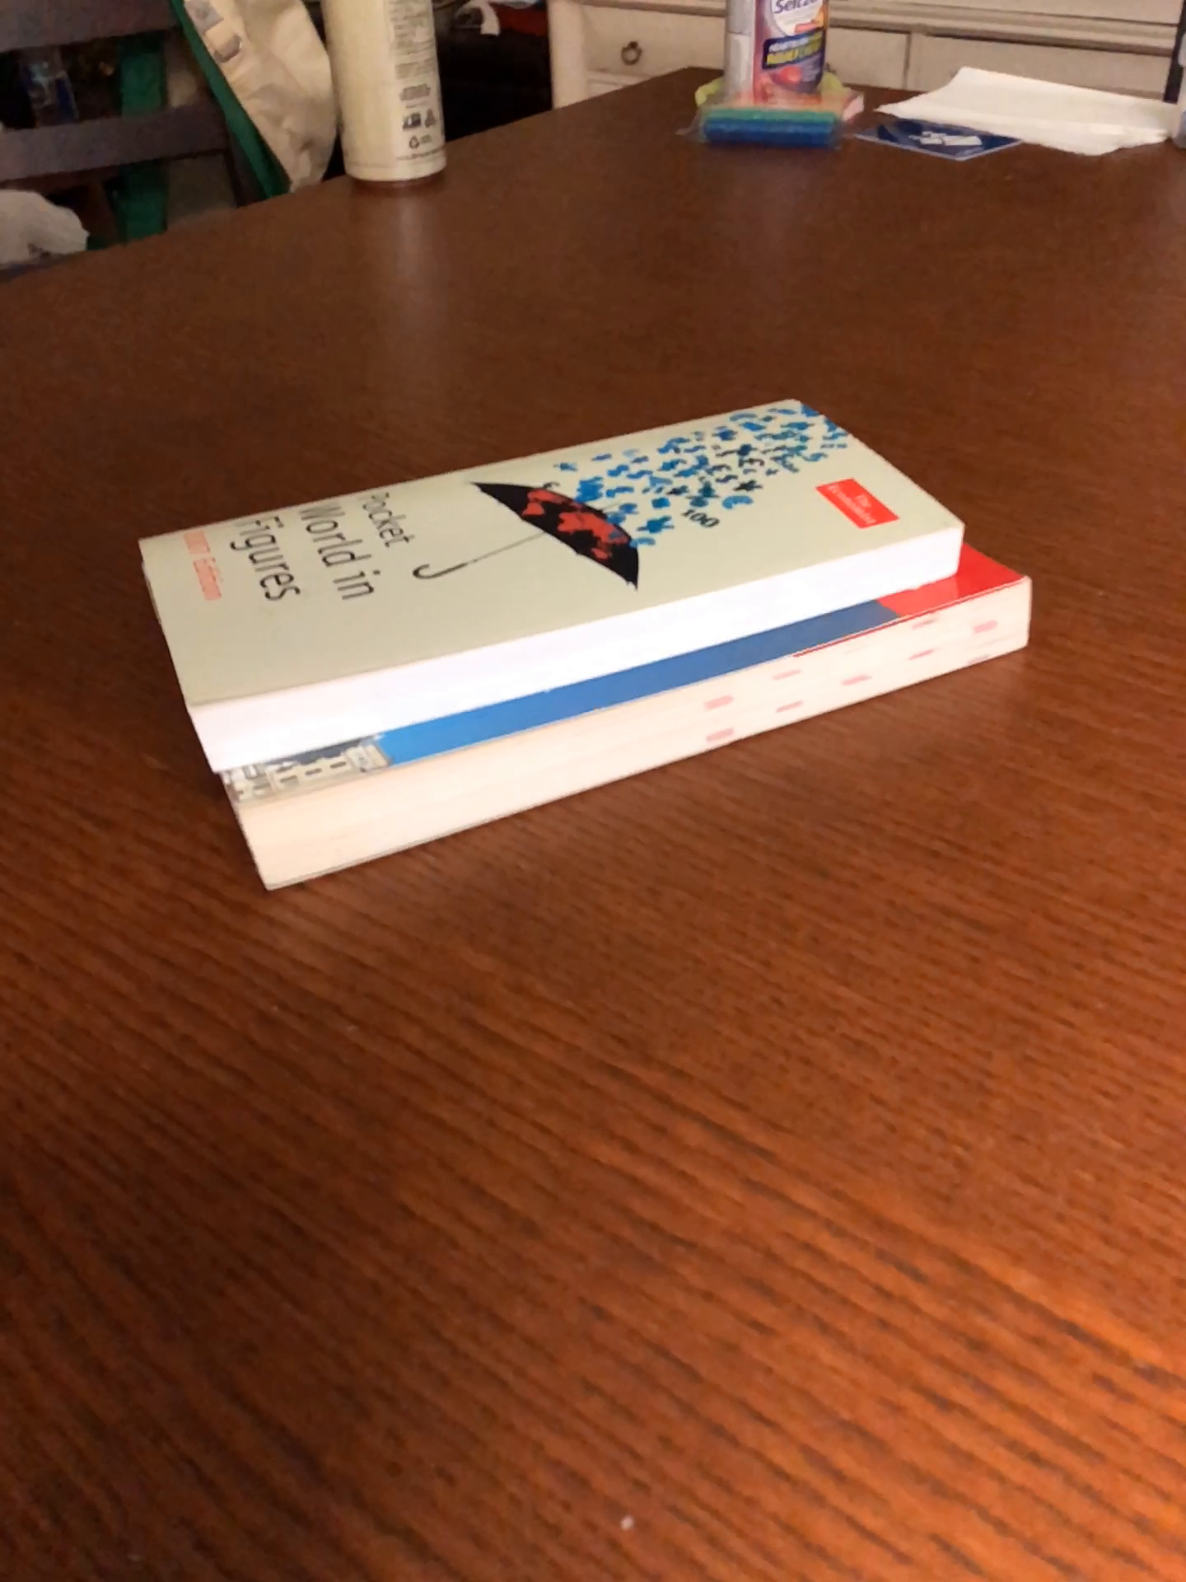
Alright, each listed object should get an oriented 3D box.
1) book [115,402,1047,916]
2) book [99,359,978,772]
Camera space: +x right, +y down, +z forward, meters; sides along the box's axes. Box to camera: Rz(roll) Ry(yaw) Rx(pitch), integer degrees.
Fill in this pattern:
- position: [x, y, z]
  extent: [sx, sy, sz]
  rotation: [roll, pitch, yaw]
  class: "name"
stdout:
- position: [-0.010, -0.051, 0.355]
  extent: [0.210, 0.020, 0.141]
  rotation: [-17, 41, -17]
  class: "book"
- position: [-0.017, -0.067, 0.337]
  extent: [0.200, 0.020, 0.101]
  rotation: [-16, 40, -15]
  class: "book"
